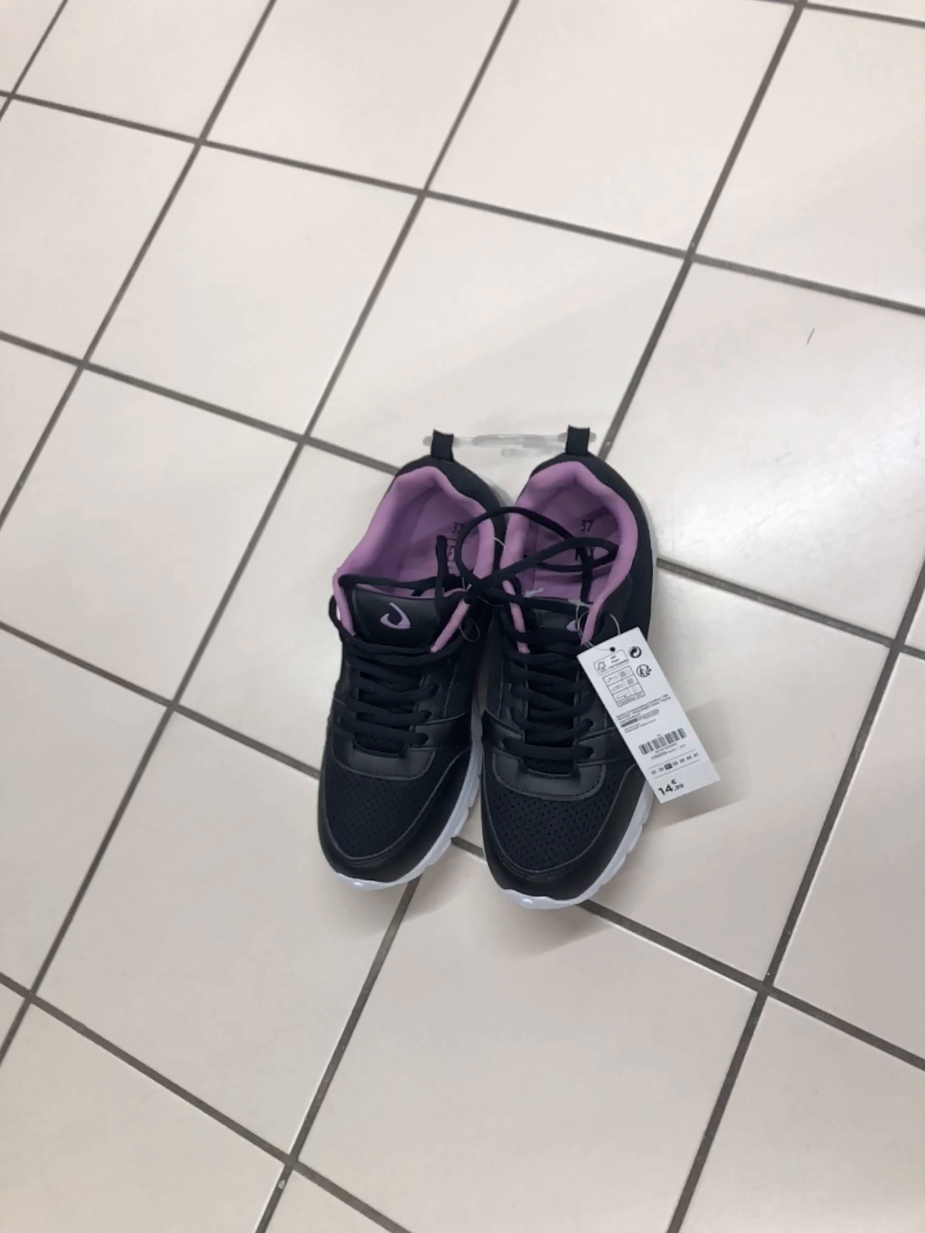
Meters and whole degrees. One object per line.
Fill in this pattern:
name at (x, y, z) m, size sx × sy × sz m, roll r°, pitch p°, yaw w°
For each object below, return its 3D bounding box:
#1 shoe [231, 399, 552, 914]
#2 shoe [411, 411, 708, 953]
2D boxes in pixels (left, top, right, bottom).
shoe at (-0.031, 0.021, 0.567) m, size 0.110 × 0.090 × 0.260 m, roll 6°, pitch 77°, yaw 16°
shoe at (0.059, 0.033, 0.548) m, size 0.110 × 0.090 × 0.260 m, roll 7°, pitch 77°, yaw 13°
